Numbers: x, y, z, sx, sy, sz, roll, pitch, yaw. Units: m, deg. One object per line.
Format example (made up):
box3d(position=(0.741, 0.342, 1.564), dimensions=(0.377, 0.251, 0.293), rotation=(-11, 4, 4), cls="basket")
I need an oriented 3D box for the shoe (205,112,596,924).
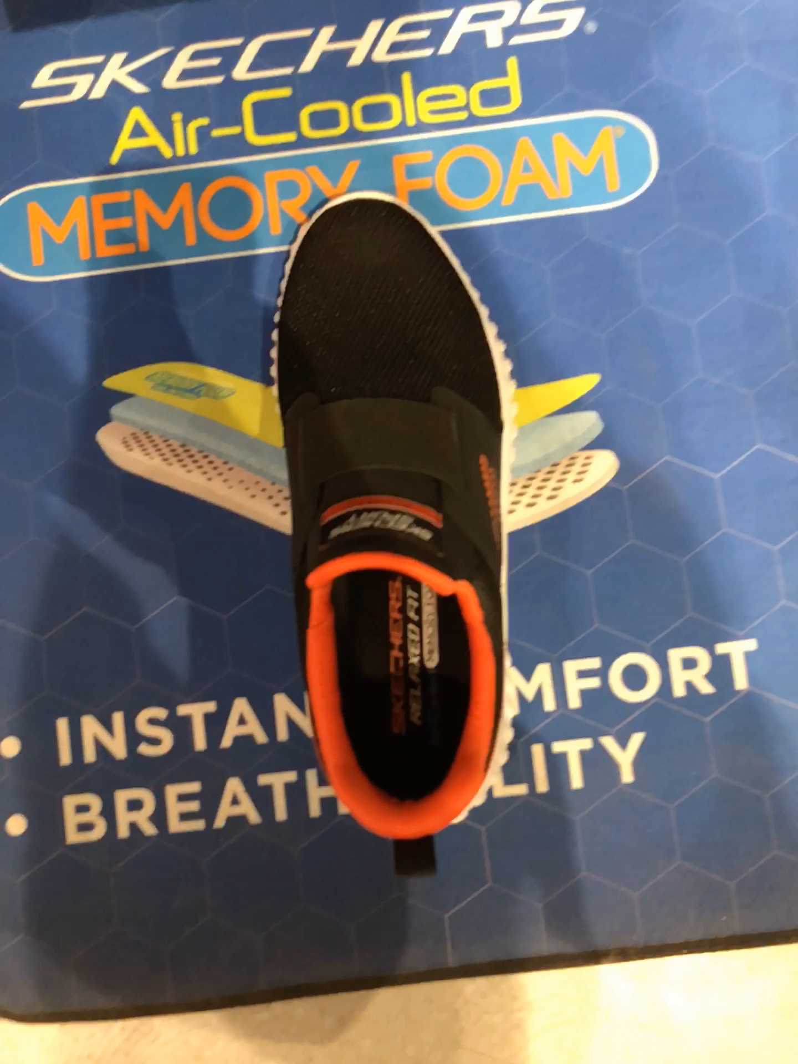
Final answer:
box3d(position=(0.000, -0.004, 0.374), dimensions=(0.116, 0.136, 0.276), rotation=(-4, 86, 1), cls="shoe")
